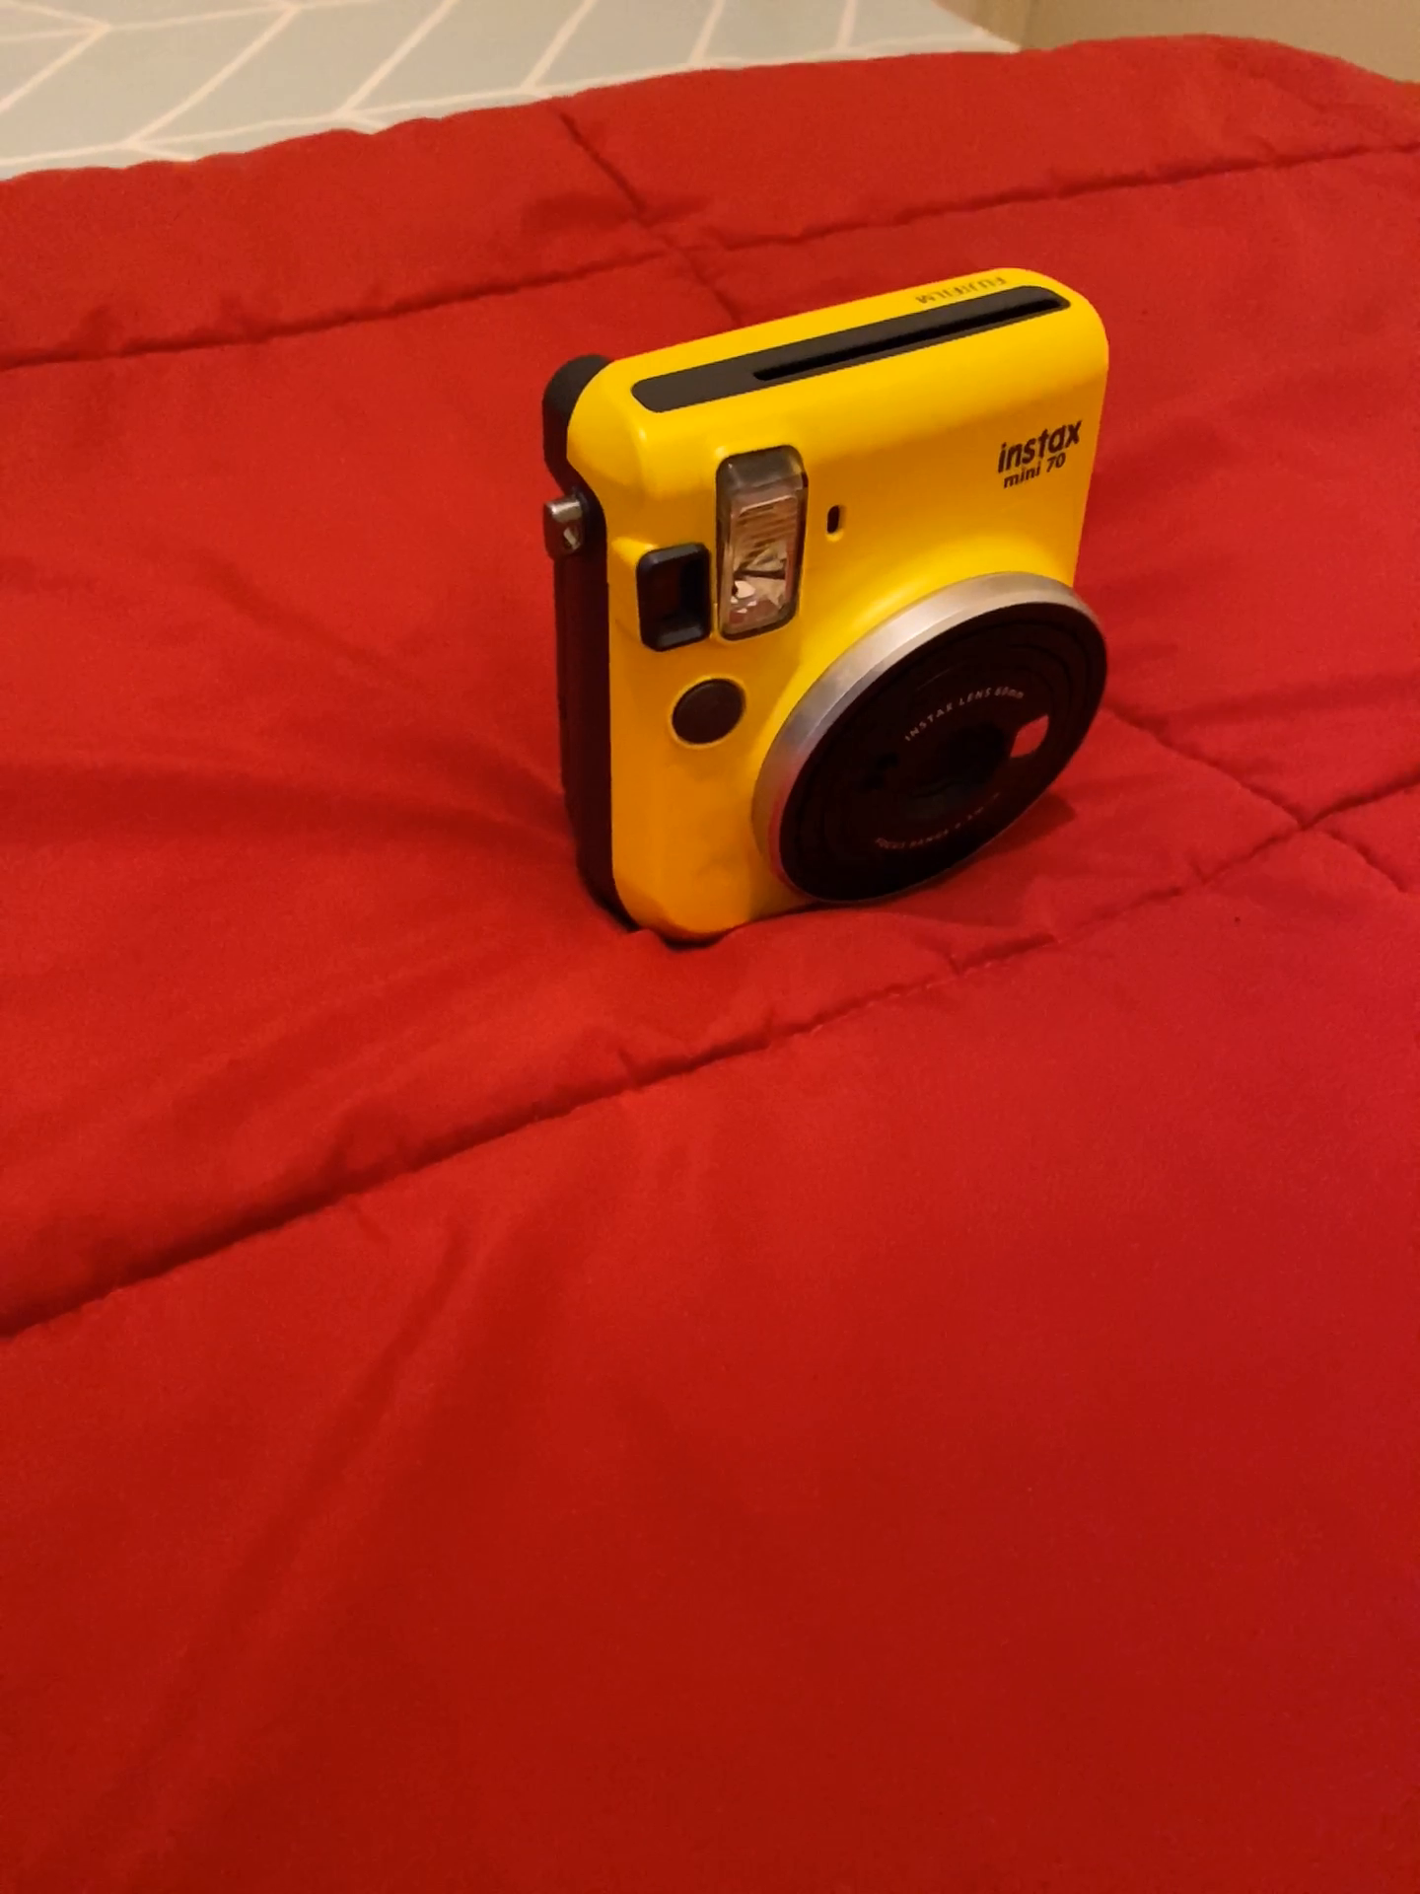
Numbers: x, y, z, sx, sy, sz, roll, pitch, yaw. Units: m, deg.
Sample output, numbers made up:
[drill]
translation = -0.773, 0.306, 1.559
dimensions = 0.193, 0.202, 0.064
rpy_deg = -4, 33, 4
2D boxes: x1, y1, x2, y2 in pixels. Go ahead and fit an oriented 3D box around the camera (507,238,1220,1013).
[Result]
[camera]
translation = 0.021, -0.056, 0.266
dimensions = 0.095, 0.103, 0.057
rpy_deg = -21, 54, -20
